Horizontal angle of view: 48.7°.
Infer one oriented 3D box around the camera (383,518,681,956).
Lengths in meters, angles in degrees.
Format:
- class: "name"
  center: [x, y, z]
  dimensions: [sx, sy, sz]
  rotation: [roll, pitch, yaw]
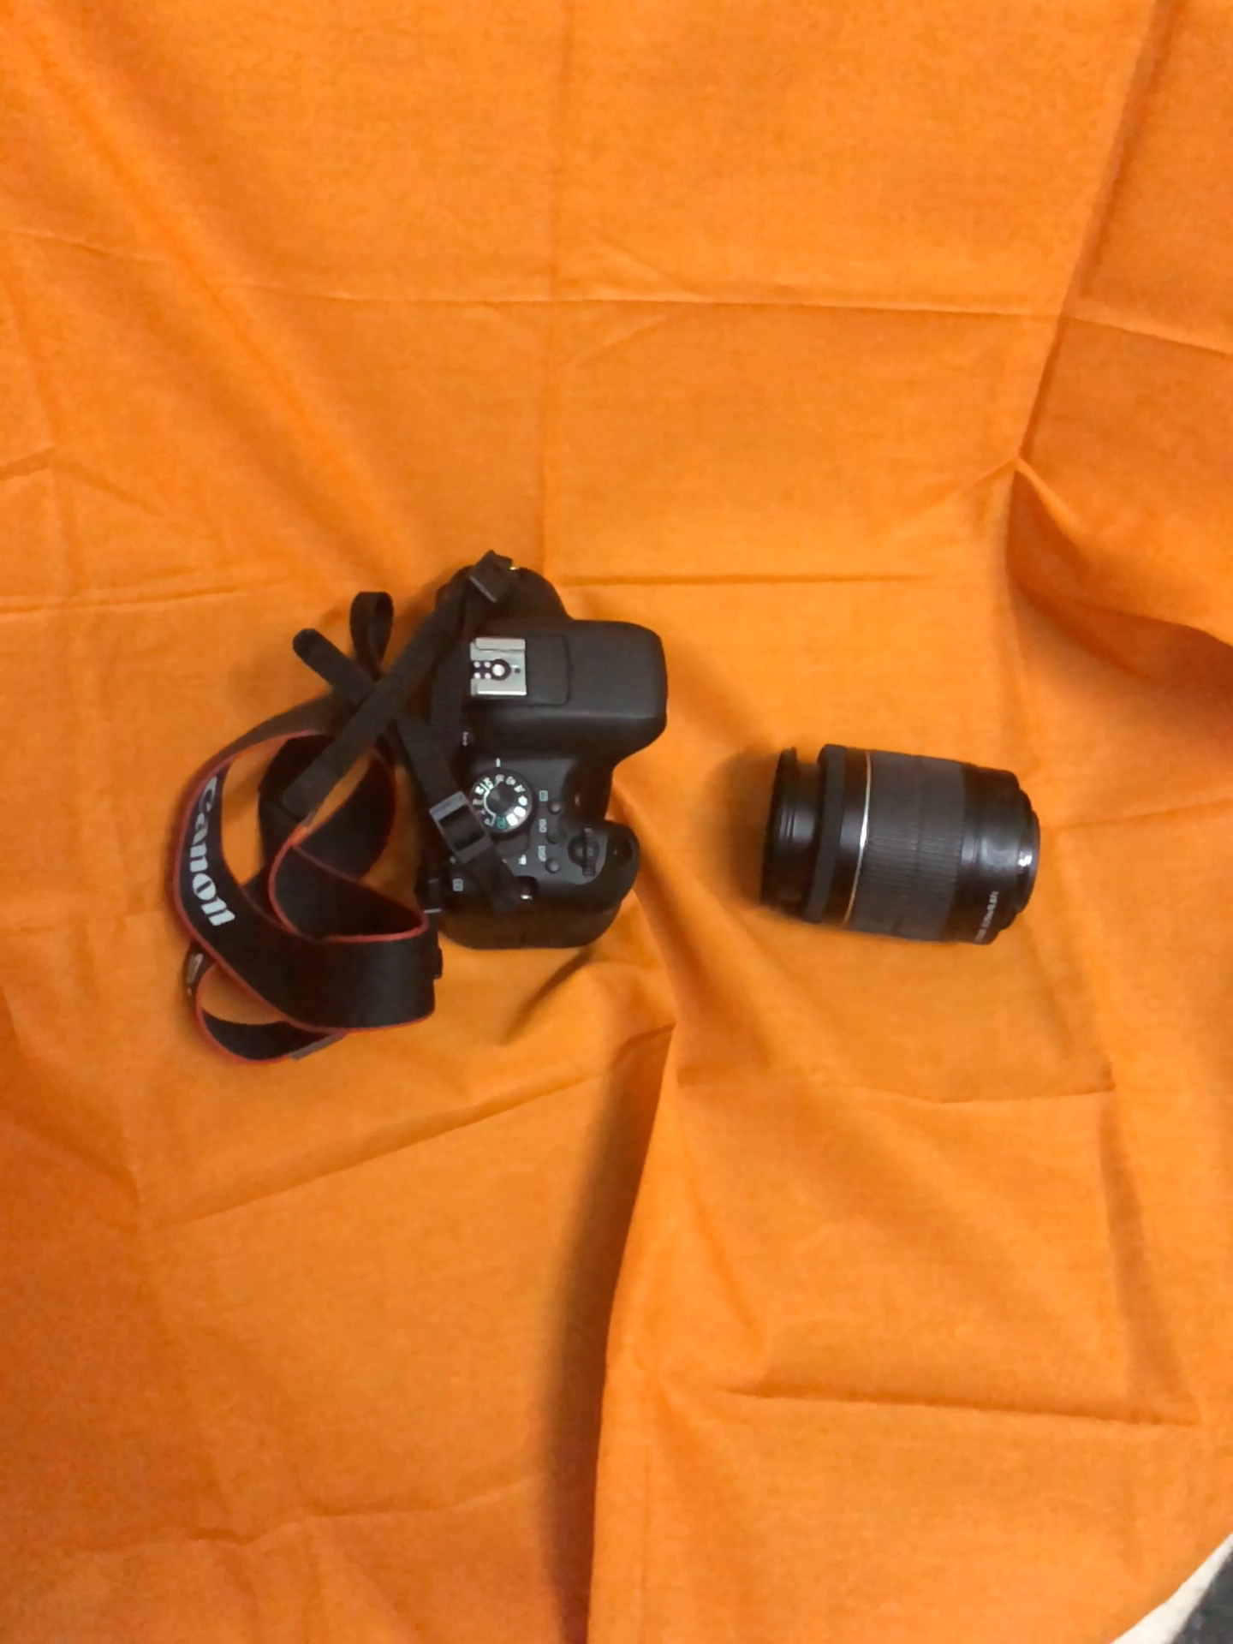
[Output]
- class: "camera"
  center: [-0.035, -0.028, 0.477]
  dimensions: [0.092, 0.071, 0.134]
  rotation: [0, 70, -9]
